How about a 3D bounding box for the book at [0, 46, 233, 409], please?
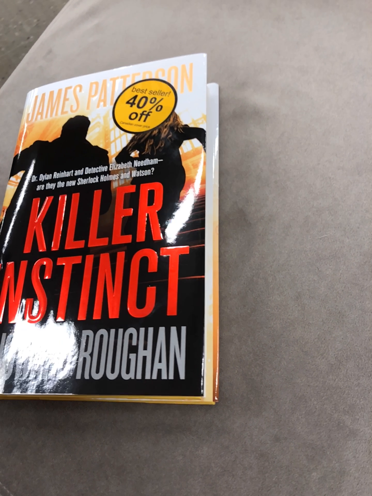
[{"bbox_3d":[-0.057,-0.019,0.288,0.172,0.038,0.238,-5,66,16],"label":"book"}]
